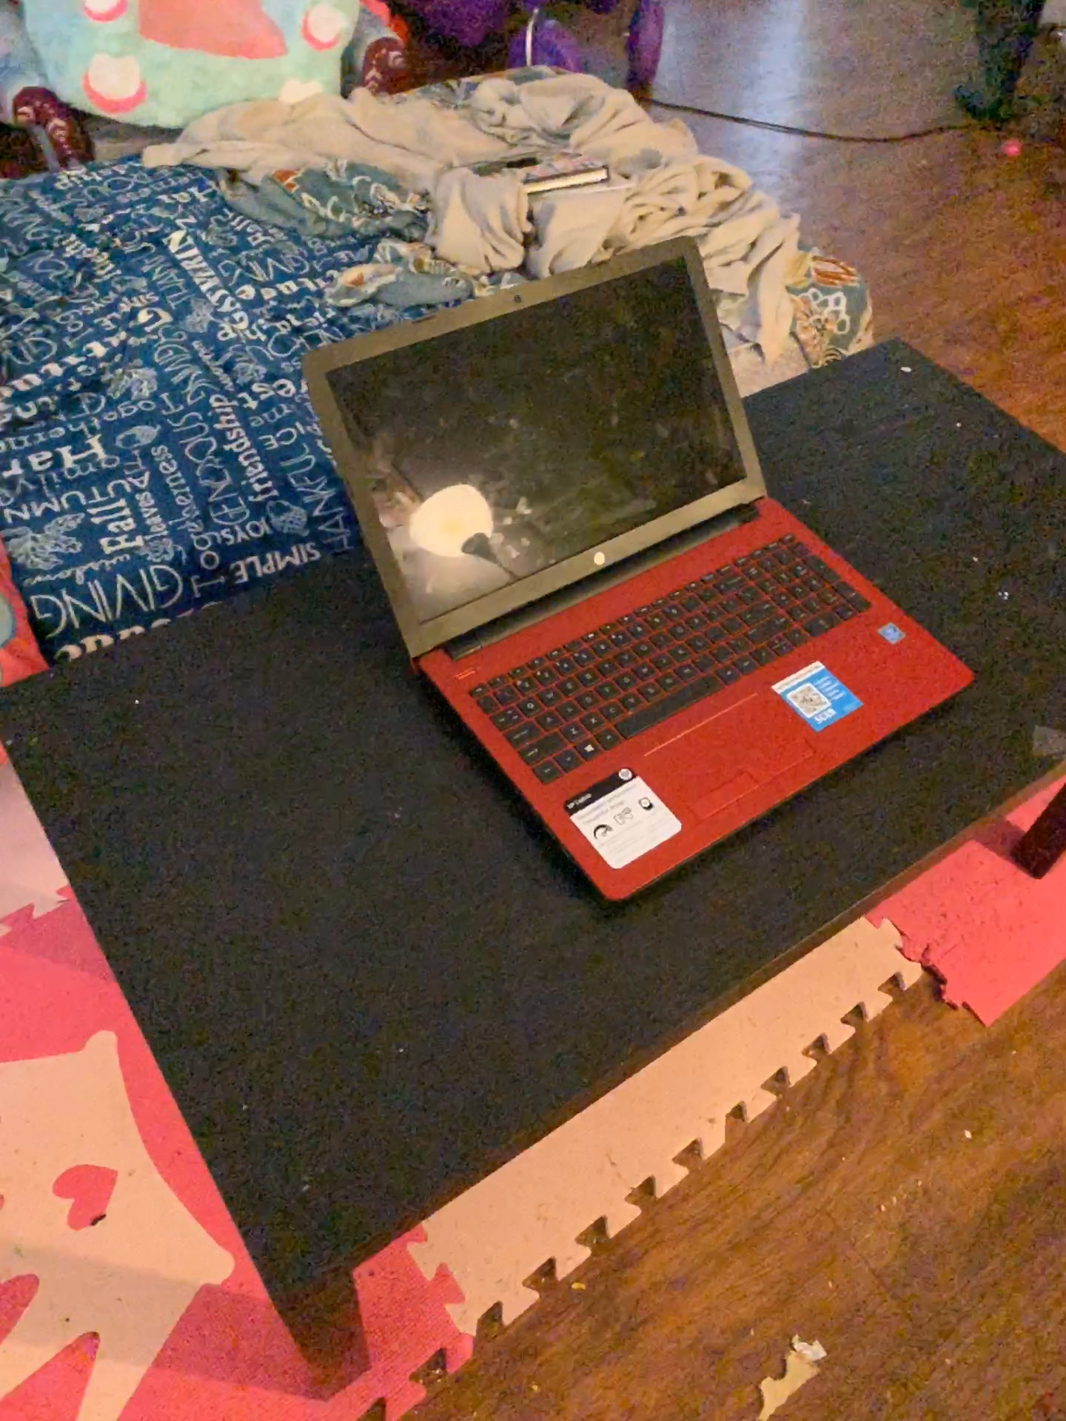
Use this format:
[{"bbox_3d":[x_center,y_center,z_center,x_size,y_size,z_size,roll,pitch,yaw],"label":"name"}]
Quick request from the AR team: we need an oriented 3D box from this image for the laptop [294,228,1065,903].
[{"bbox_3d":[0.092,-0.143,0.829,0.376,0.169,0.410,-27,60,-25],"label":"laptop"}]
